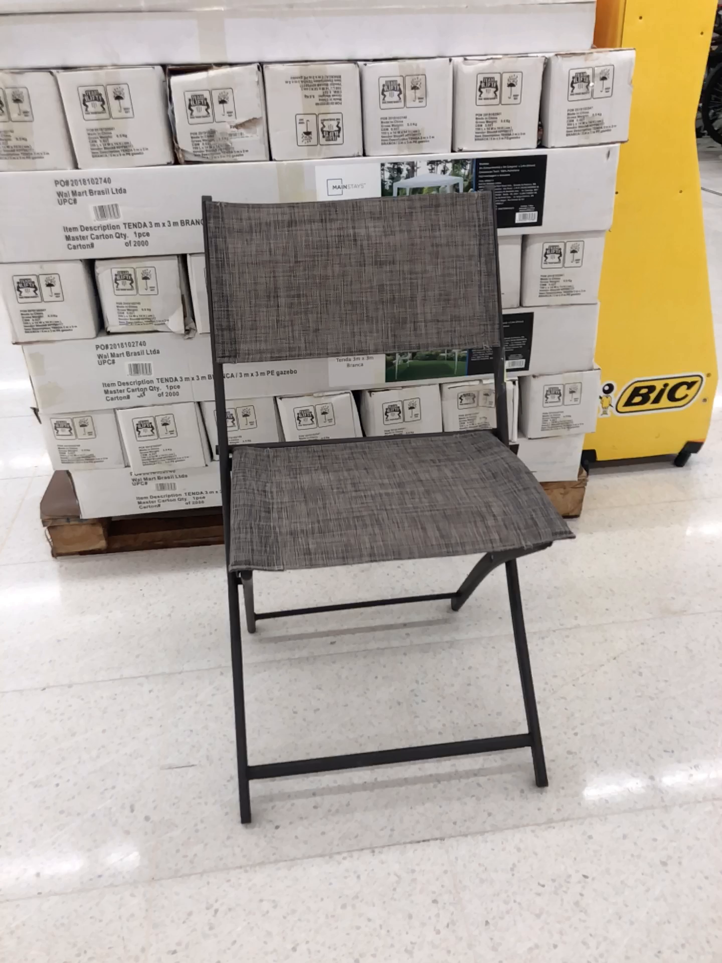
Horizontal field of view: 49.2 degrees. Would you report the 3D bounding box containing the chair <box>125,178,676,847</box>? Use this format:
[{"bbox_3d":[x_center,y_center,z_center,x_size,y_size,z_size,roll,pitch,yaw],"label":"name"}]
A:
[{"bbox_3d":[0.021,0.017,1.119,0.510,0.755,0.503,-4,29,-6],"label":"chair"}]
